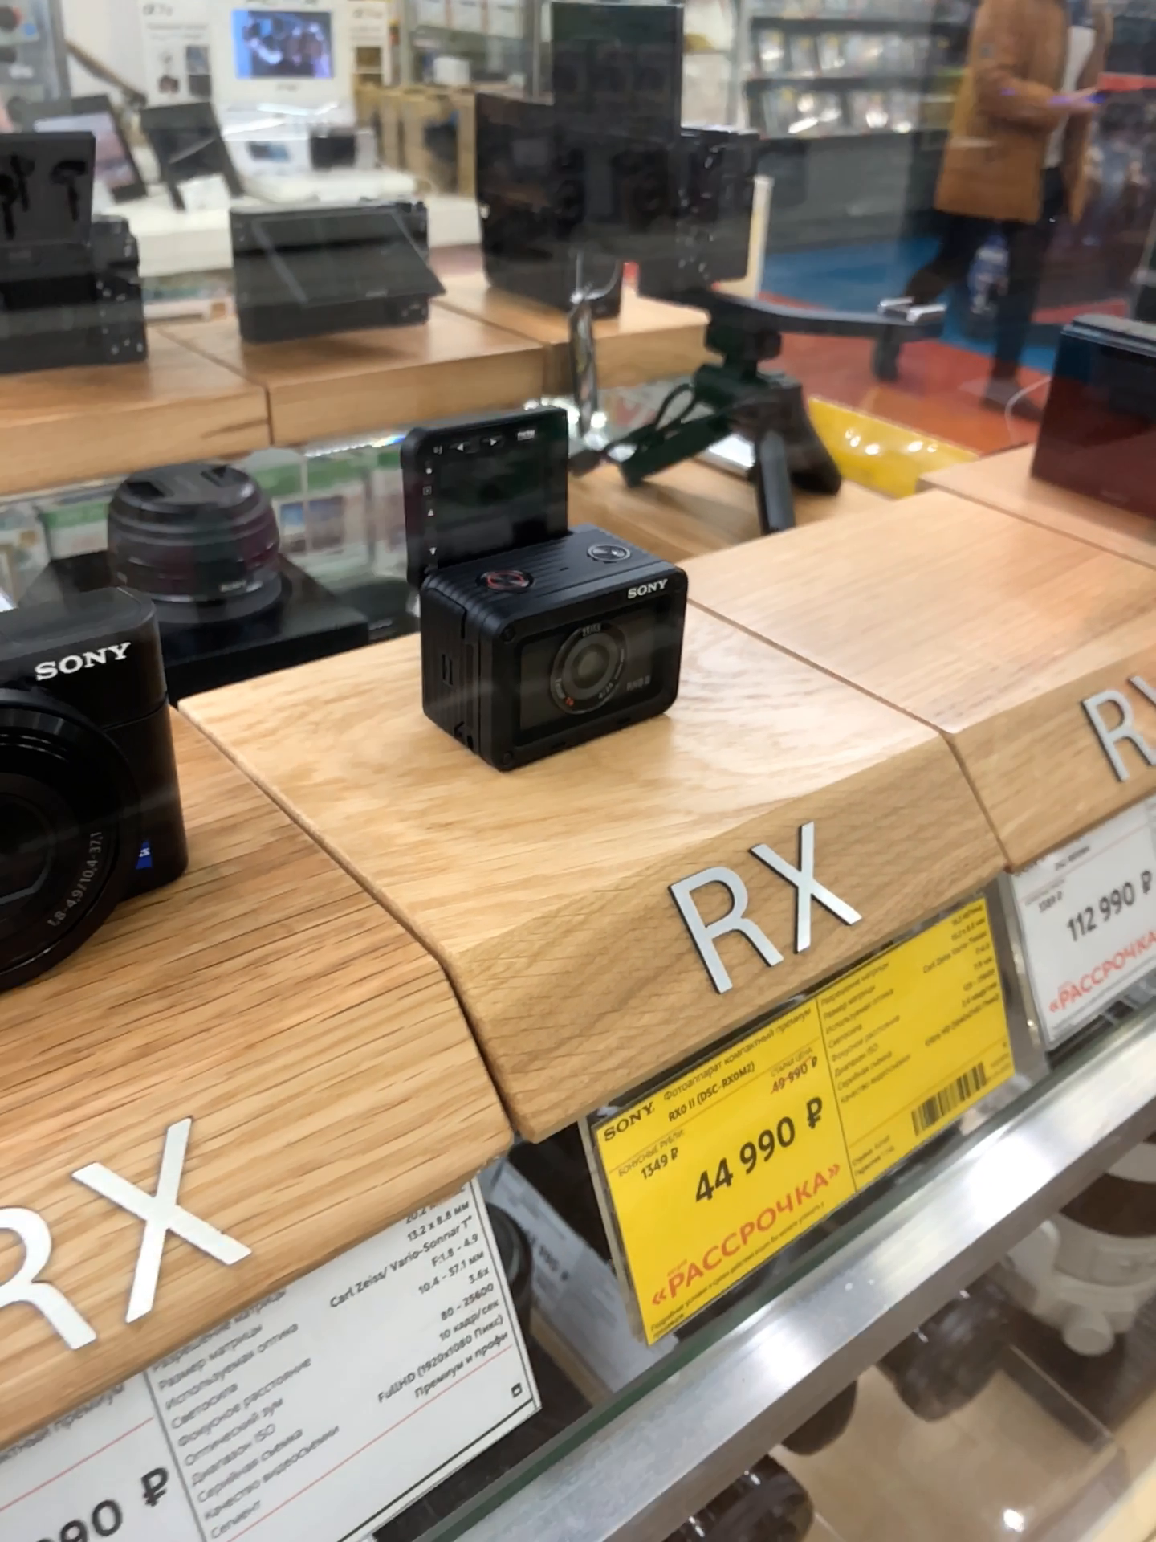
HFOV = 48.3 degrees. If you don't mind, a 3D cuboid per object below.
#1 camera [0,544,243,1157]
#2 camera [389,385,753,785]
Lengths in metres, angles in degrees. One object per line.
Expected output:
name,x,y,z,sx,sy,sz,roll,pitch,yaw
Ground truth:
camera,-0.121,0.008,0.231,0.106,0.067,0.041,-21,39,-33
camera,-0.003,-0.046,0.300,0.063,0.067,0.050,-21,39,-33
